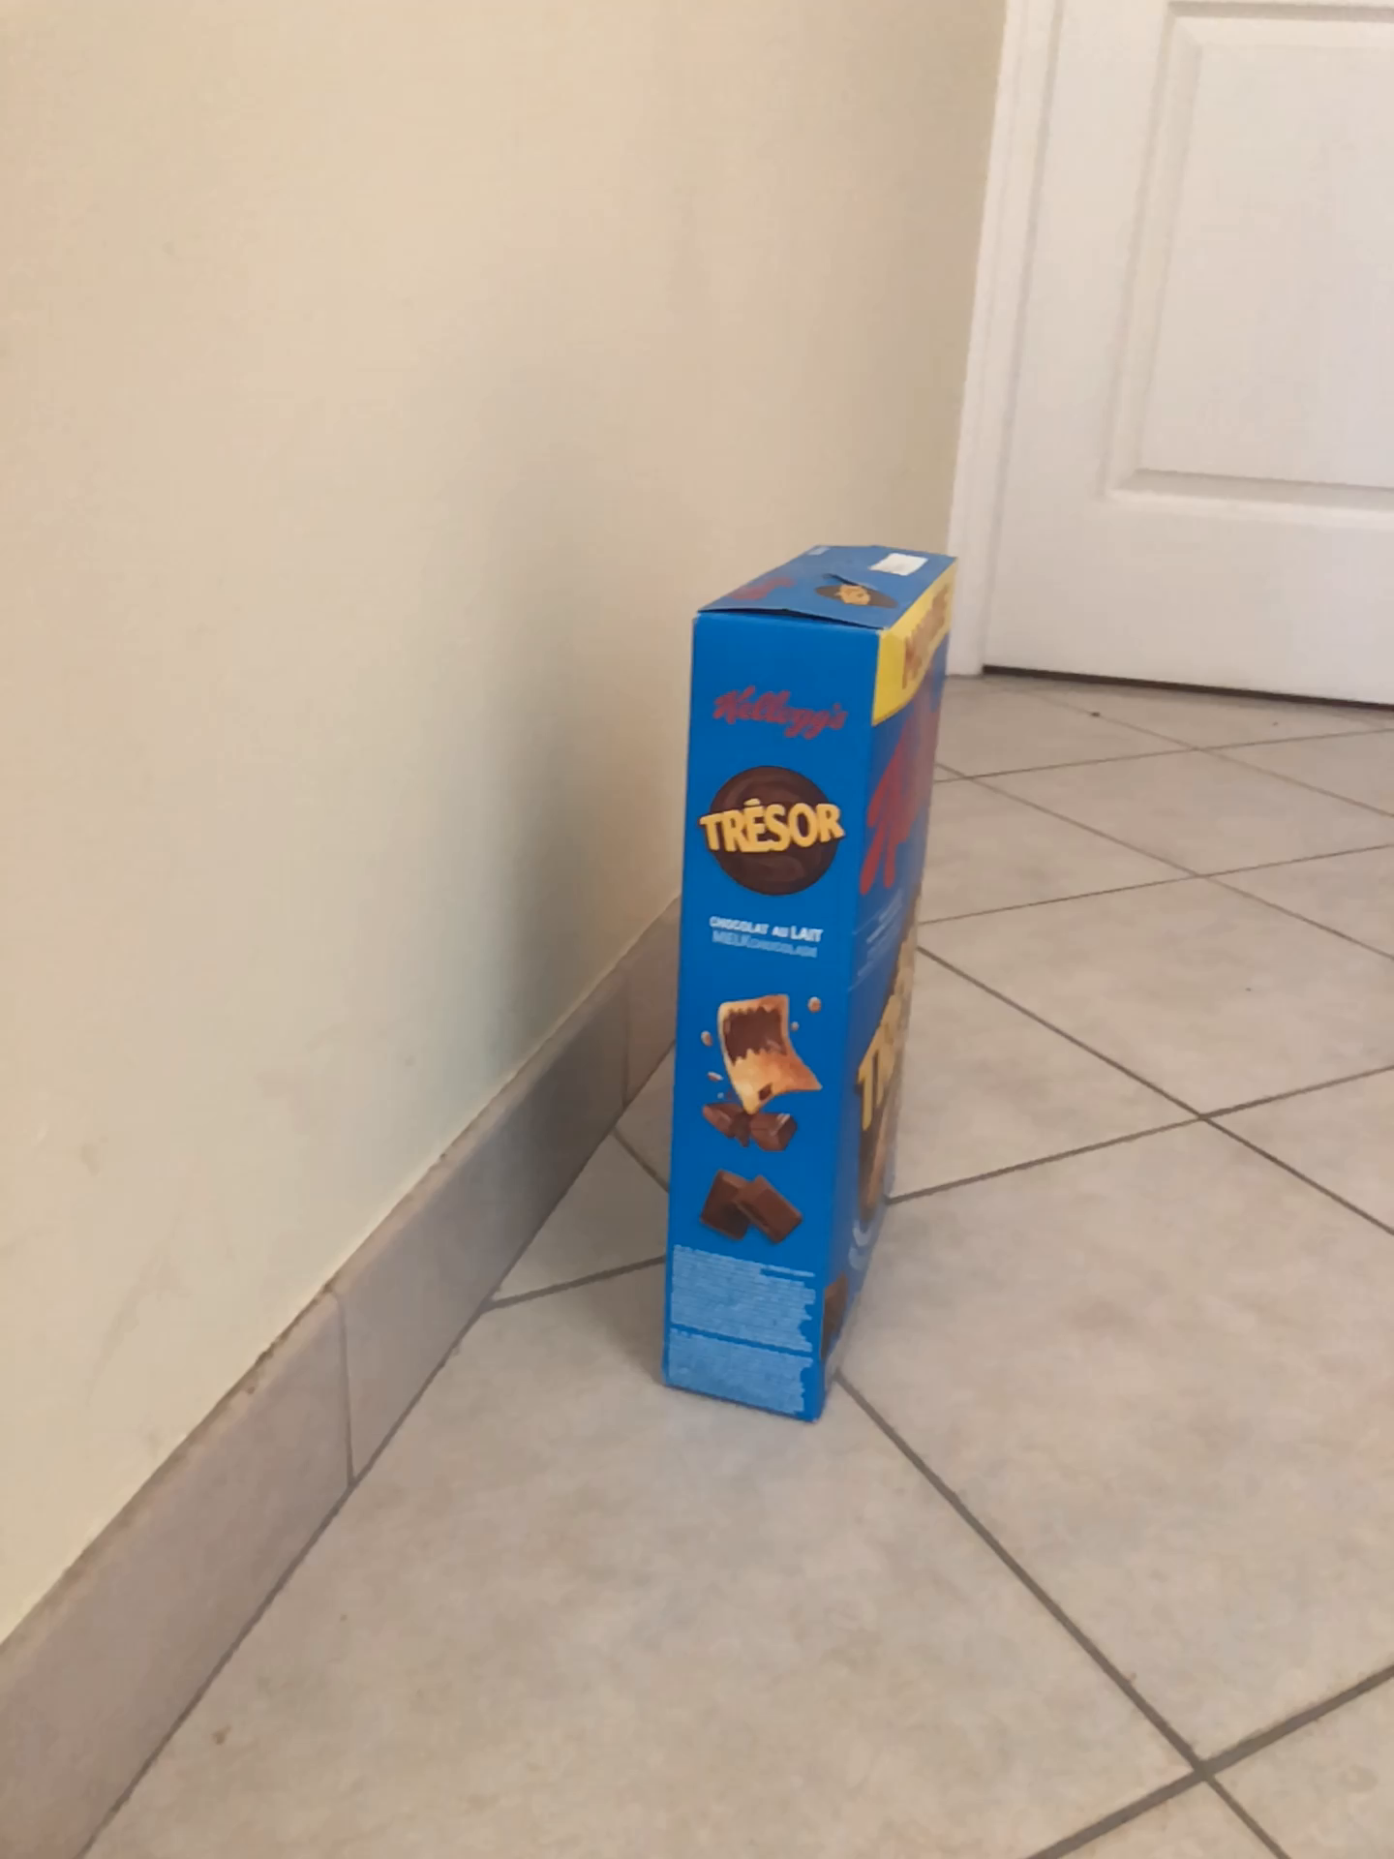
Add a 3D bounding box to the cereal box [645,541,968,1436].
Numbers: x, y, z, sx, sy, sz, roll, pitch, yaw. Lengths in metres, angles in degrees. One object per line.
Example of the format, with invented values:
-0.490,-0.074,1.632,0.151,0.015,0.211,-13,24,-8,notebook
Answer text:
0.046,0.011,0.609,0.070,0.299,0.191,8,21,13,cereal box
